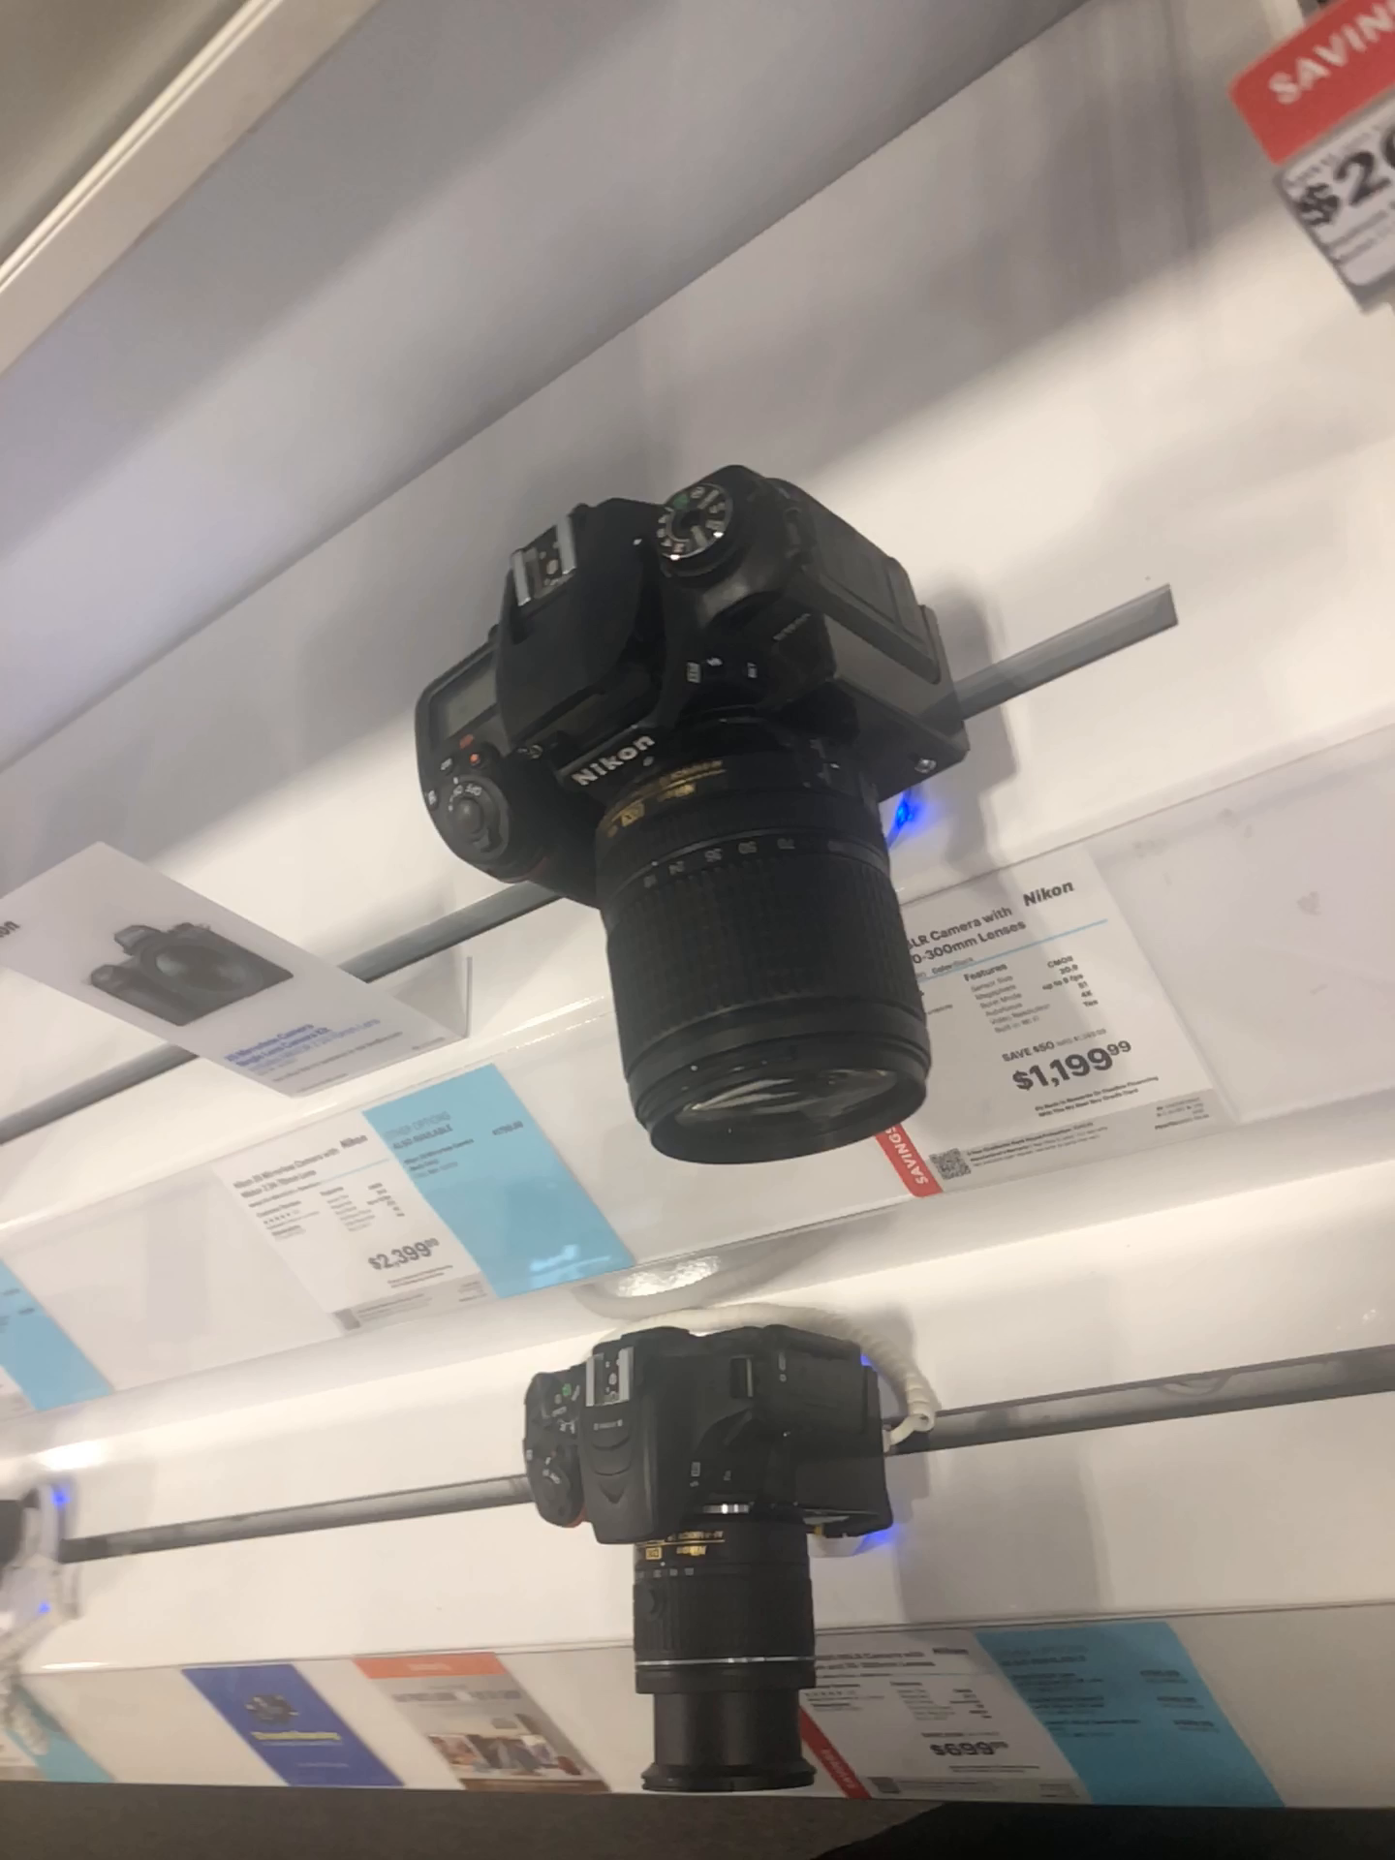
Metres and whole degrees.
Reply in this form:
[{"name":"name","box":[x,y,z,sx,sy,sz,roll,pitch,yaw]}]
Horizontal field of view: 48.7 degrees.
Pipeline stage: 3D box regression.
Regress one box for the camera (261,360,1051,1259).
[{"name":"camera","box":[-0.020,-0.019,0.411,0.160,0.110,0.160,-27,57,33]}]
